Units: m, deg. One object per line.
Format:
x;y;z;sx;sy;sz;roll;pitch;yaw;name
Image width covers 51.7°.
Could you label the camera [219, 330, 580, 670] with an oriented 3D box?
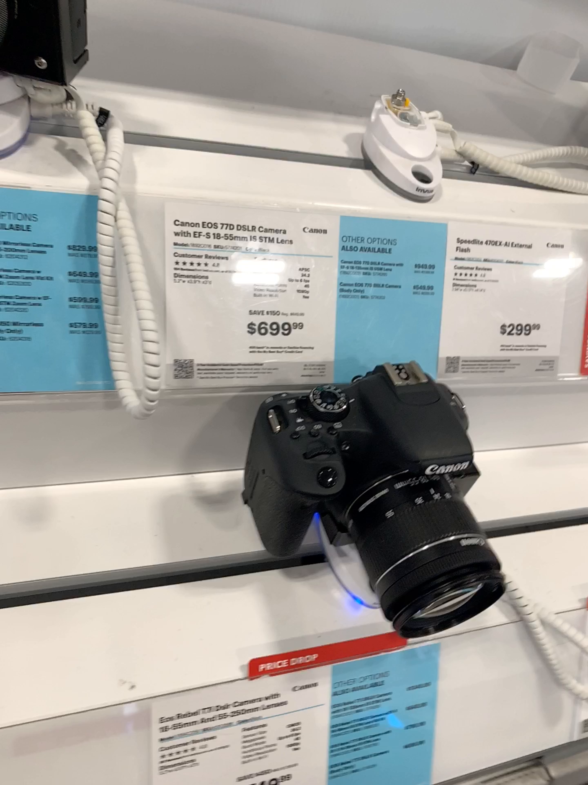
0.044;0.052;0.343;0.130;0.099;0.139;-6;50;-22;camera
